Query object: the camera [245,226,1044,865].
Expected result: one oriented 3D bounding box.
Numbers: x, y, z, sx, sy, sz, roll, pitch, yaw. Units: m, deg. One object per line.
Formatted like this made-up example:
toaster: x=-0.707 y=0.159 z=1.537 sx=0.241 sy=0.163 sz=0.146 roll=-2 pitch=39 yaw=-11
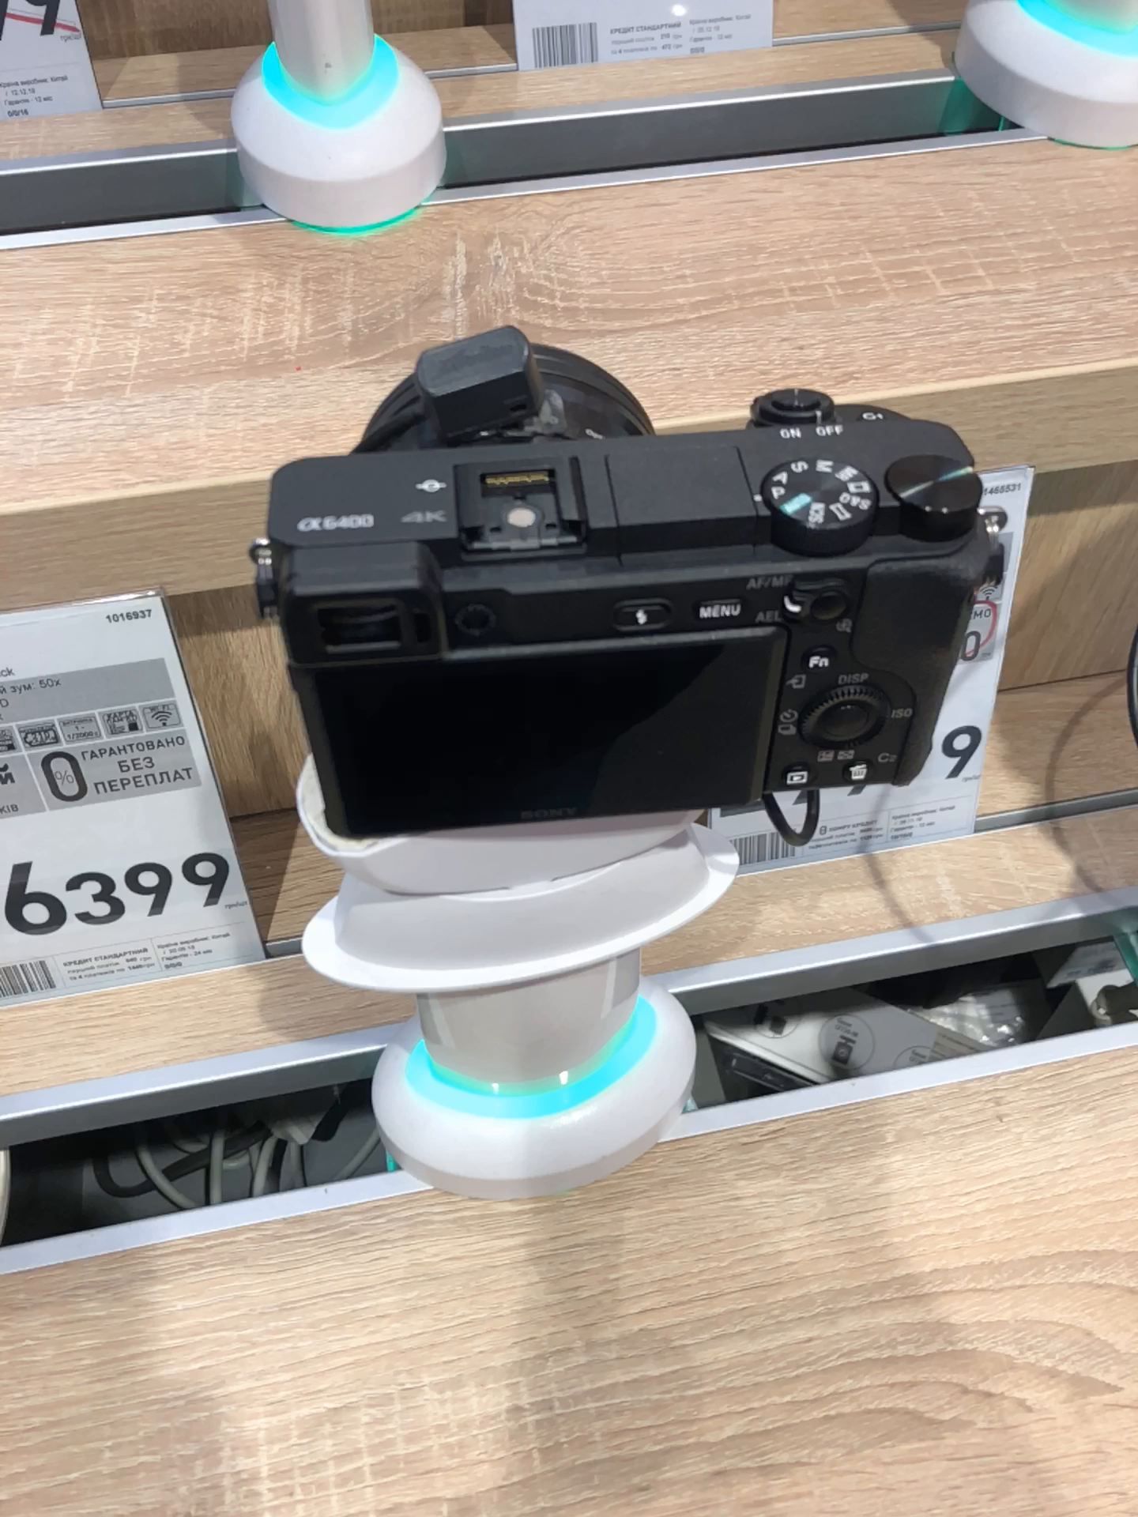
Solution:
camera: x=0.008 y=-0.045 z=0.248 sx=0.122 sy=0.069 sz=0.098 roll=-5 pitch=49 yaw=-4
